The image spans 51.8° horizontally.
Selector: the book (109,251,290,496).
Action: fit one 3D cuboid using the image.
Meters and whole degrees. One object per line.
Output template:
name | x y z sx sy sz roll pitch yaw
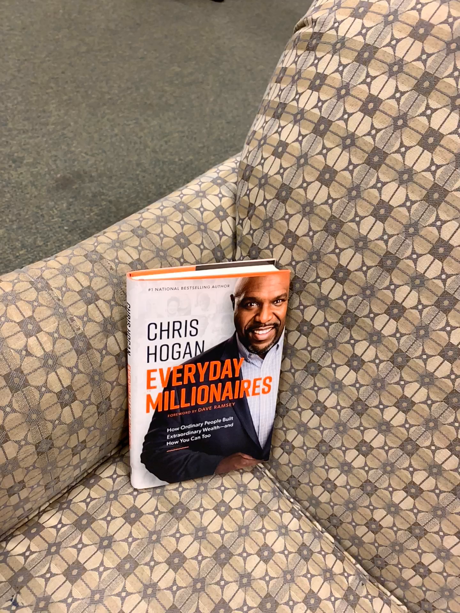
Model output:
book | -0.034 0.070 0.480 0.160 0.244 0.038 -5 26 -19
